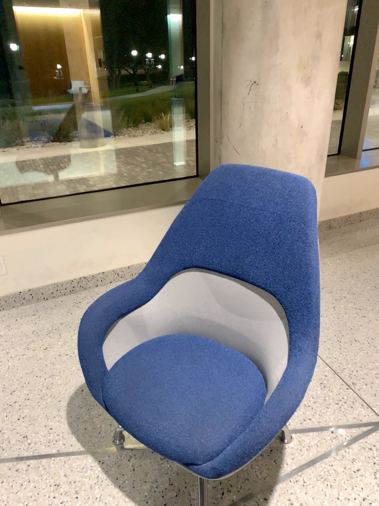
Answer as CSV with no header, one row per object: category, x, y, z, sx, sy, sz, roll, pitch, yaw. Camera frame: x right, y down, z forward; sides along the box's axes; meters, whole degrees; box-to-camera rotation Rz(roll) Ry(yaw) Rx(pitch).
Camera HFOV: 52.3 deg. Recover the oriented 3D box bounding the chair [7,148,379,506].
chair,0.015,0.260,1.277,0.816,0.996,0.634,19,32,35
